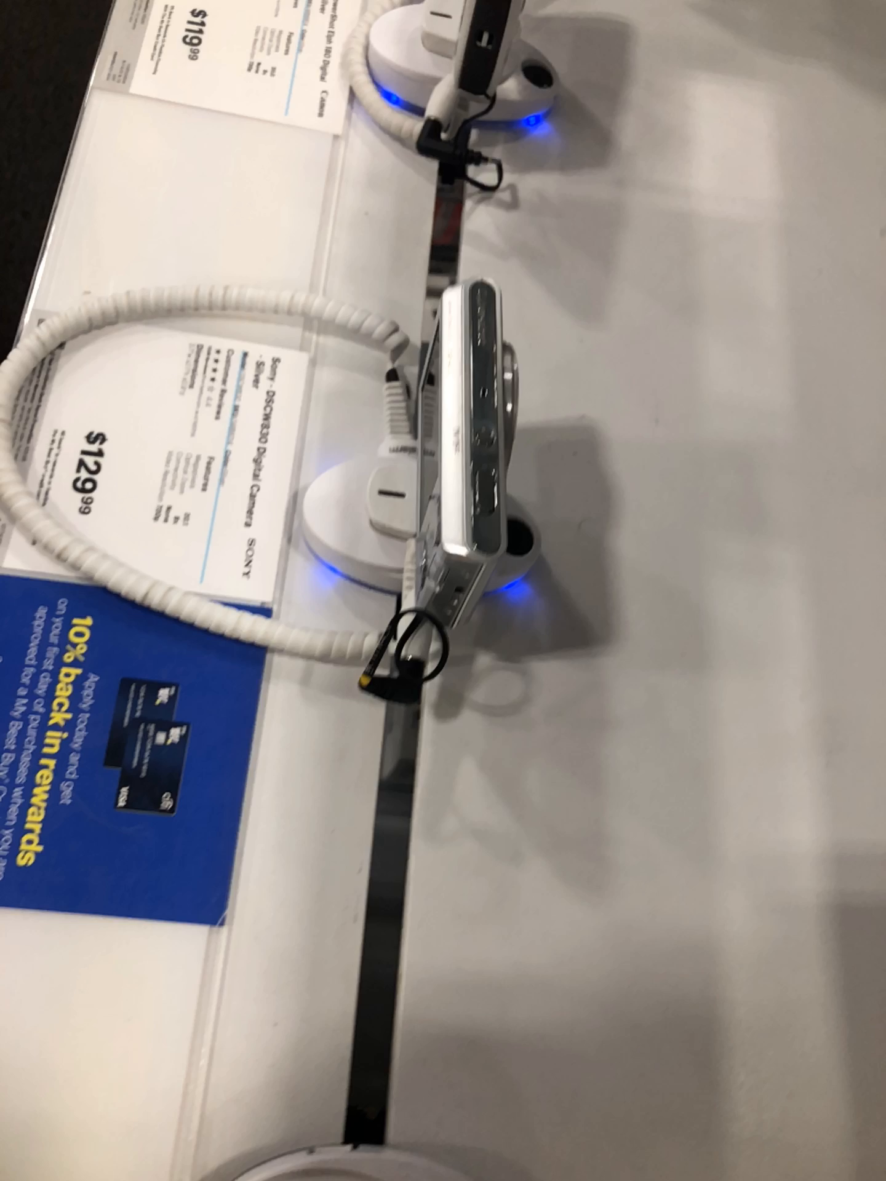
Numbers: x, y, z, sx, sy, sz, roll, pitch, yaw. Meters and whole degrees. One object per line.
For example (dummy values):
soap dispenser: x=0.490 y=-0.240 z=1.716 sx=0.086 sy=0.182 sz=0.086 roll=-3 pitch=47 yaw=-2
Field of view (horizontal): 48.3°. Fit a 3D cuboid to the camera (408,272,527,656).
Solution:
camera: x=0.006 y=-0.035 z=0.296 sx=0.020 sy=0.070 sz=0.090 roll=5 pitch=67 yaw=-9
